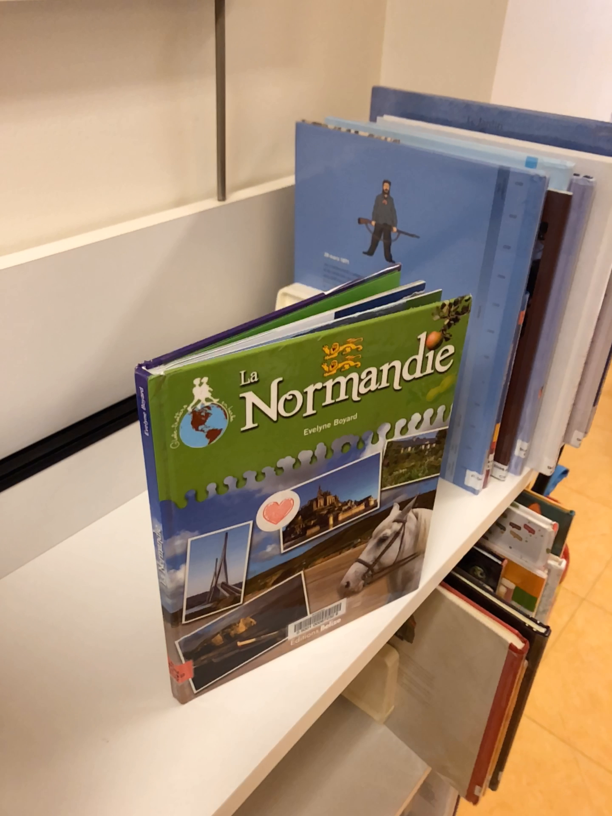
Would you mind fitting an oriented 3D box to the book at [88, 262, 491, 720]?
[{"bbox_3d":[-0.009,0.052,0.437,0.208,0.248,0.077,-14,36,-24],"label":"book"}]
